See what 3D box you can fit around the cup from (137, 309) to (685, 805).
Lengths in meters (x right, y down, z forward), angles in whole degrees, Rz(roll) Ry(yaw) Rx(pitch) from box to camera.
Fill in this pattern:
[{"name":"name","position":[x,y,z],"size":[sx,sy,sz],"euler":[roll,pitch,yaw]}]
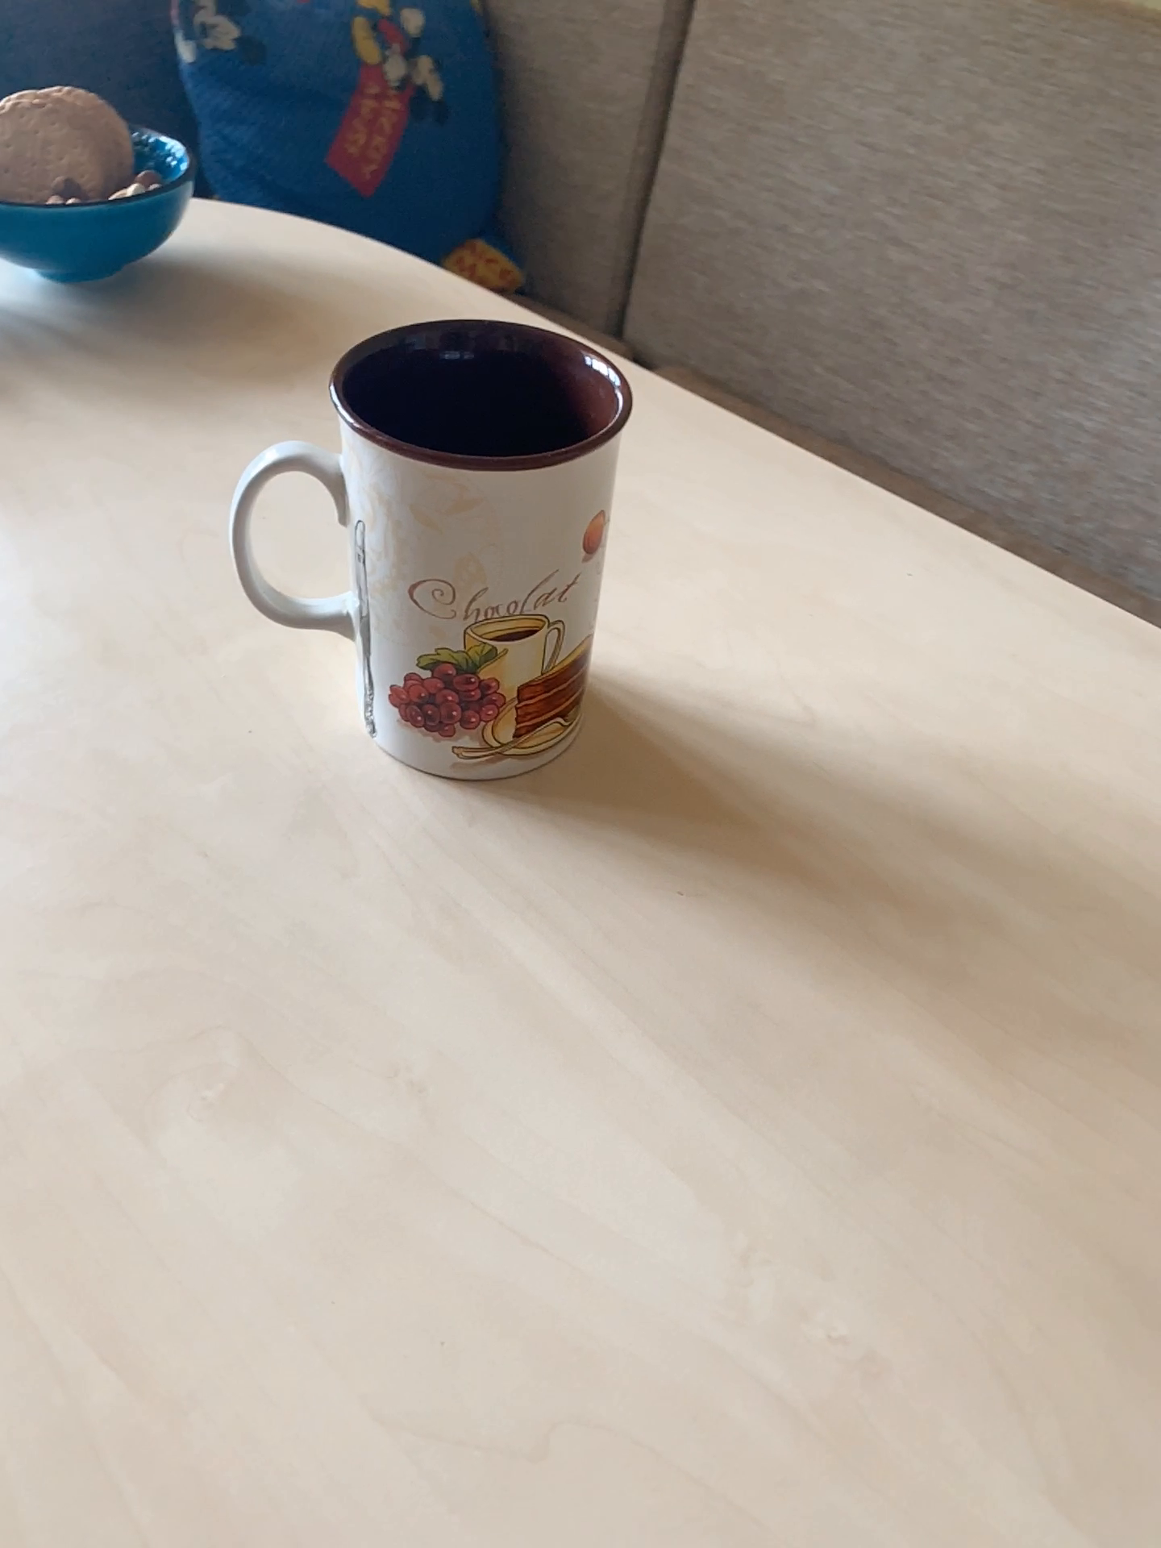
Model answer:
[{"name":"cup","position":[-0.049,-0.064,0.357],"size":[0.130,0.110,0.090],"euler":[-2,43,-9]}]
